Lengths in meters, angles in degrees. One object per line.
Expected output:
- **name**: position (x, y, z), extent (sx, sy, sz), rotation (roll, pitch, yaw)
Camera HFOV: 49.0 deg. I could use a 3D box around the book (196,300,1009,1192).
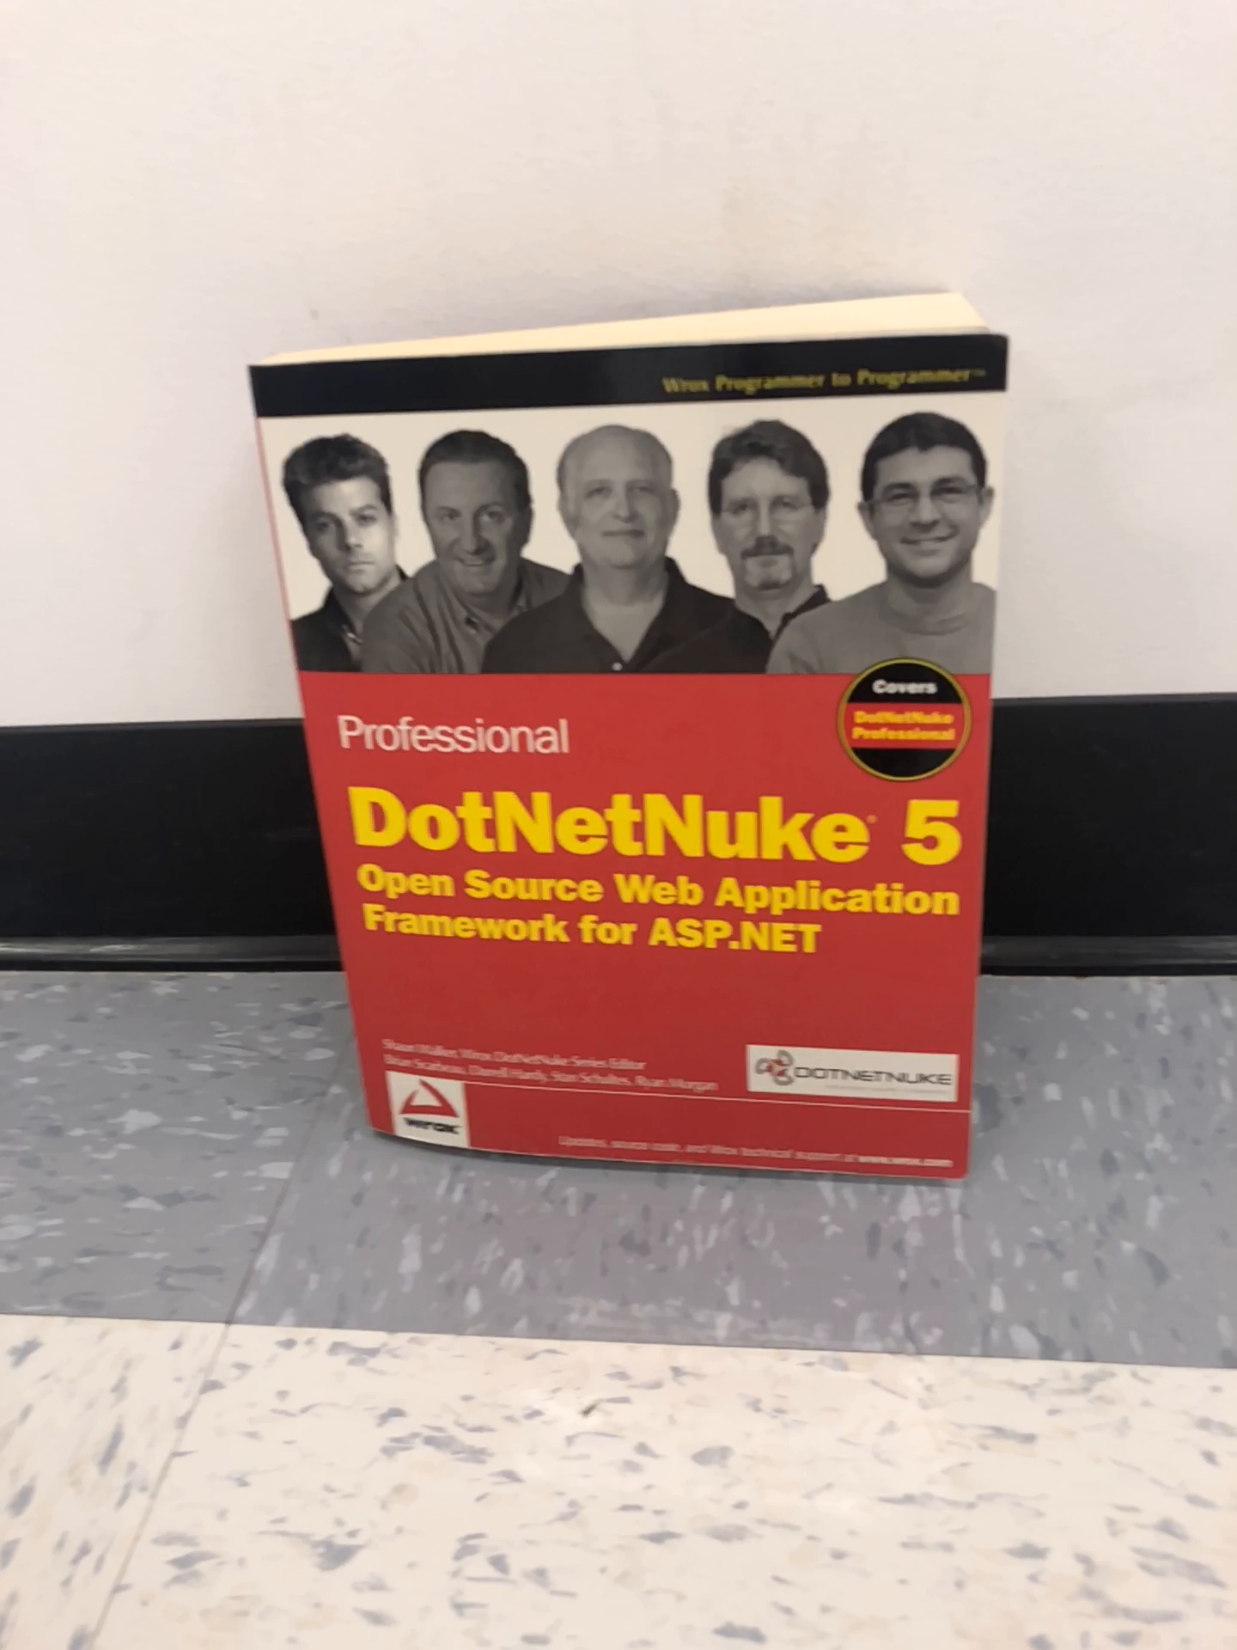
- **book**: position (0.002, -0.020, 0.413), extent (0.210, 0.249, 0.060), rotation (1, 21, 12)
